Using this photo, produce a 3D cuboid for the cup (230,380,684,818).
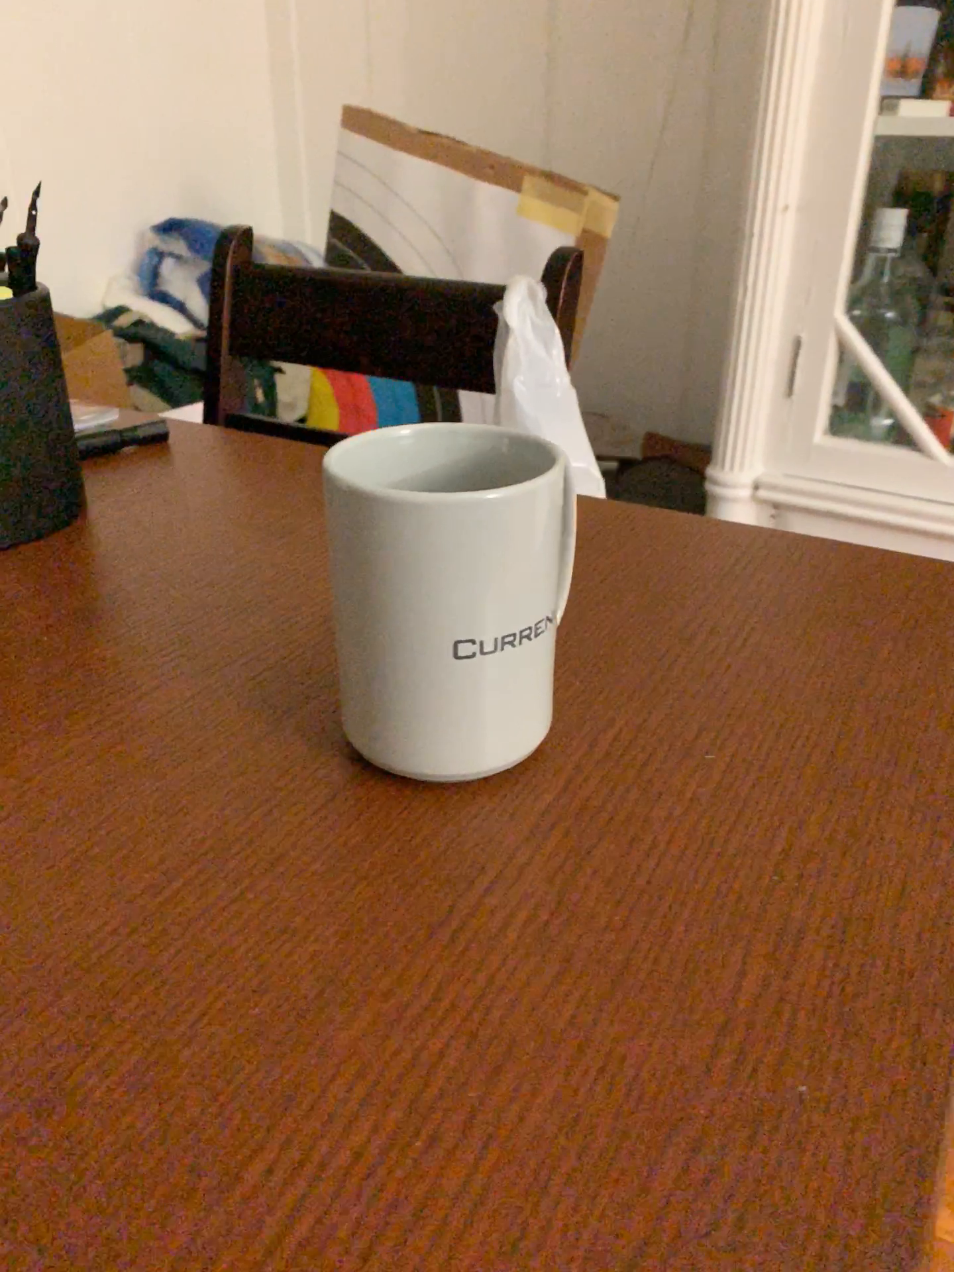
[{"bbox_3d":[-0.003,-0.026,0.388,0.100,0.109,0.140,21,34,35],"label":"cup"}]
